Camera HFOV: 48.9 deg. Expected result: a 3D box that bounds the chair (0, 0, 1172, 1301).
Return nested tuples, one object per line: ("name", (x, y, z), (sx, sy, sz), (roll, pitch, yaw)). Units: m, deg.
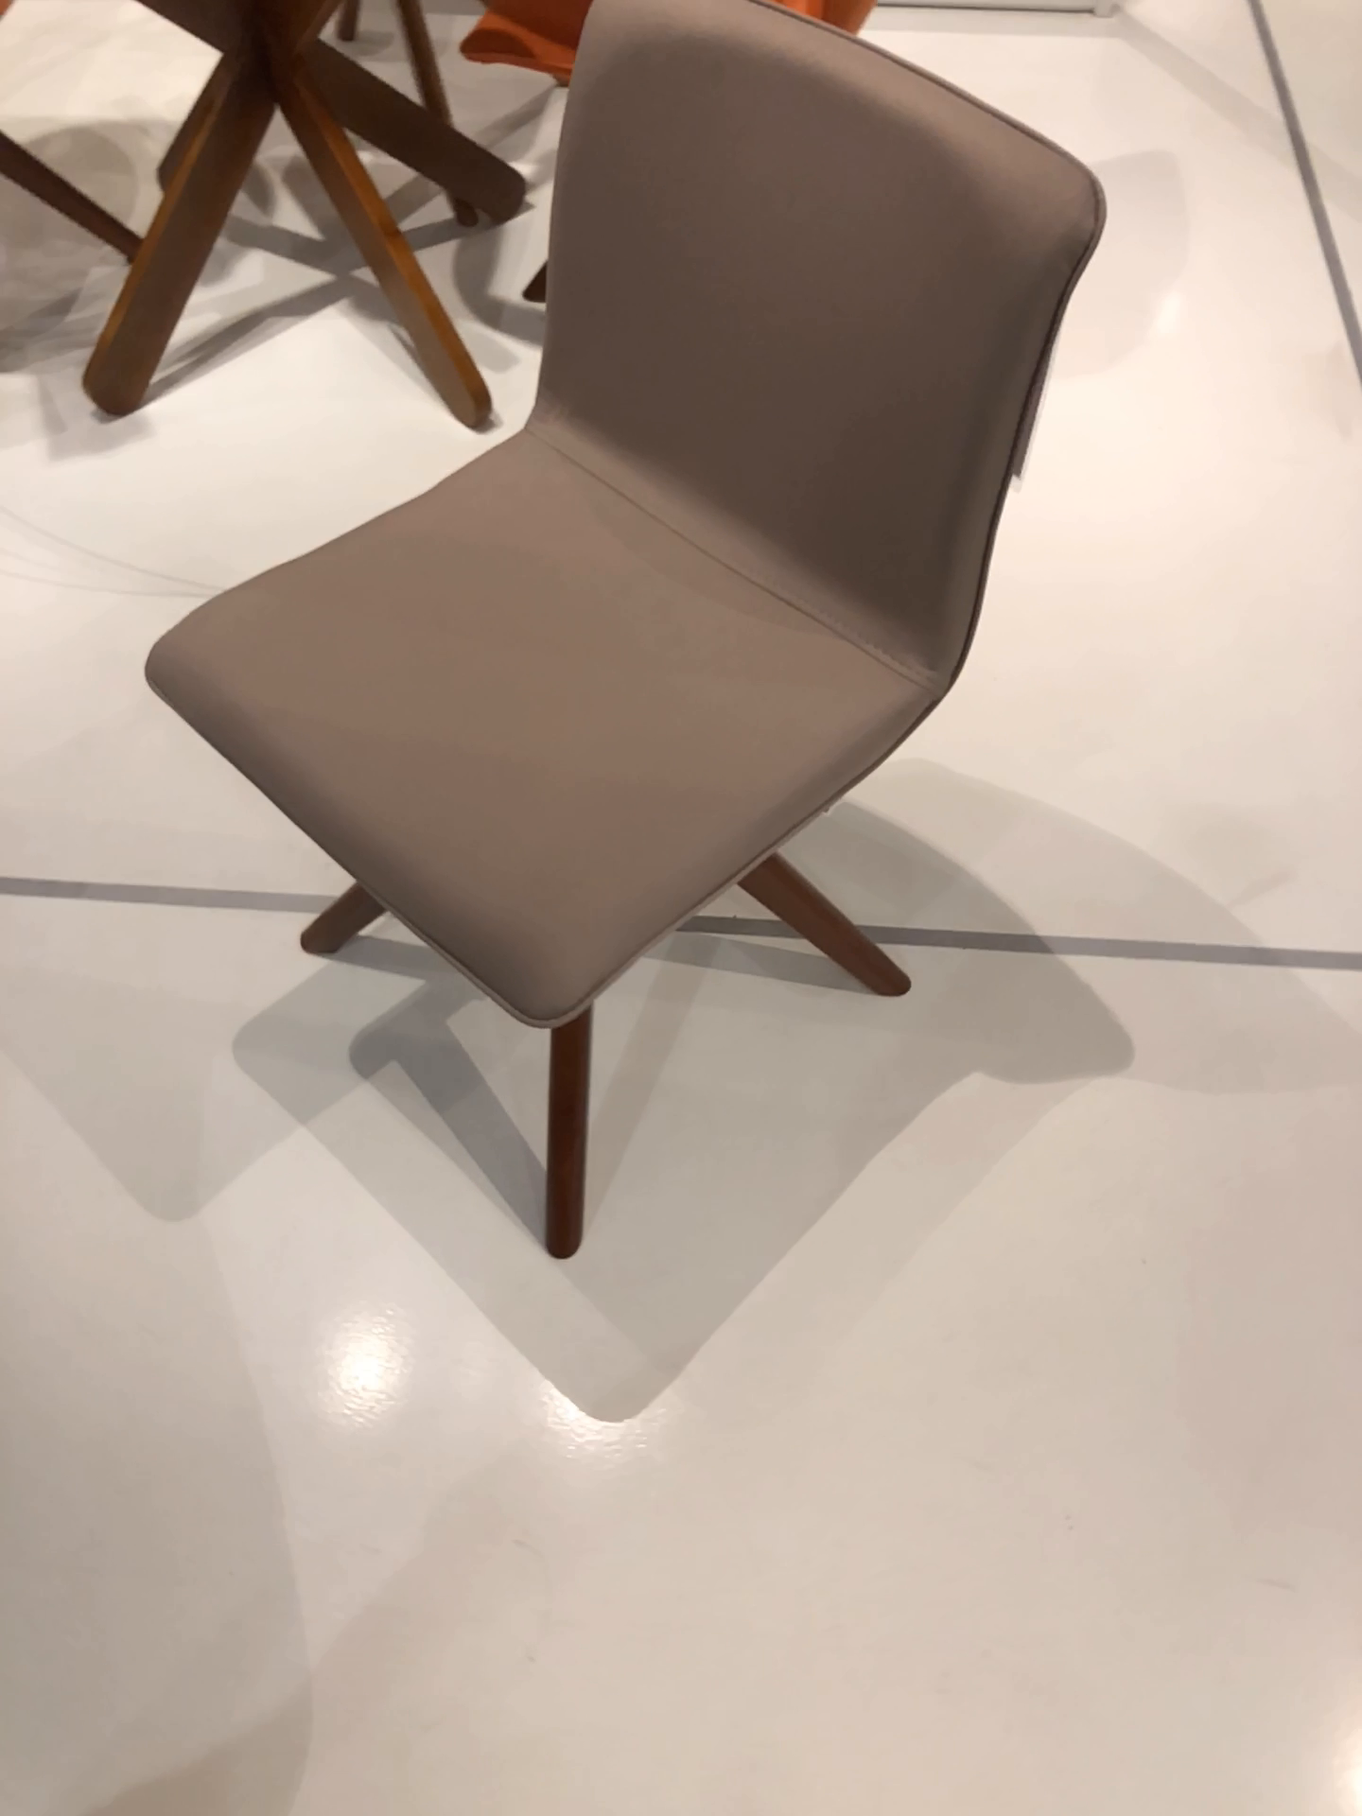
("chair", (-0.088, -0.187, 1.151), (0.512, 0.806, 0.501), (-39, 64, -23))
